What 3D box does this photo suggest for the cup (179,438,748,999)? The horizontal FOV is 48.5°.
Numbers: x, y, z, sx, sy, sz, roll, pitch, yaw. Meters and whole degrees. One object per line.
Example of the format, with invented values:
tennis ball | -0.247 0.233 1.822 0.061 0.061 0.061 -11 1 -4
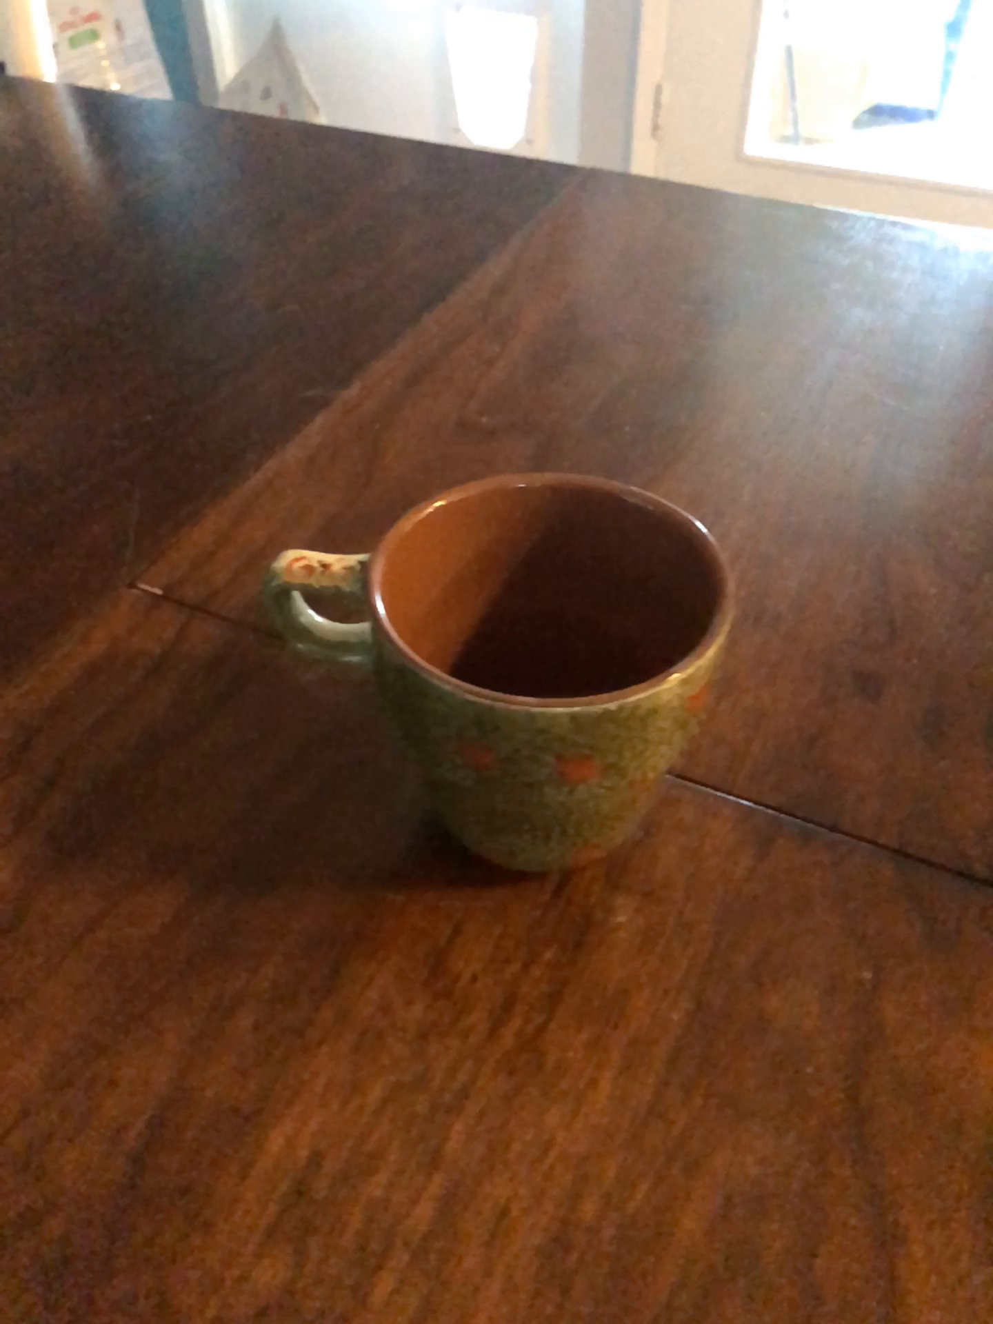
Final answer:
cup | -0.002 0.014 0.331 0.130 0.110 0.100 9 44 10
